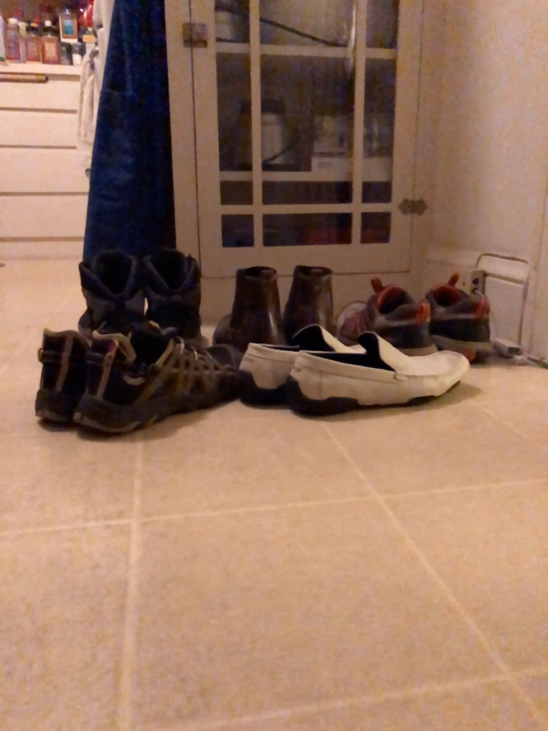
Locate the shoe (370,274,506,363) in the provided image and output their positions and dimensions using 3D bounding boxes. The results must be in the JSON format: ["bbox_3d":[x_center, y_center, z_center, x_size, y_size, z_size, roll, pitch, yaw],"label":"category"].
[{"bbox_3d":[0.302,-0.103,1.171,0.110,0.113,0.314,-4,15,-14],"label":"shoe"}]

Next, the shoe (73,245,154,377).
[{"bbox_3d":[-0.309,-0.118,1.131,0.110,0.192,0.324,-5,16,-18],"label":"shoe"}]

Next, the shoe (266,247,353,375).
[{"bbox_3d":[0.057,-0.121,1.169,0.110,0.192,0.324,-2,15,-7],"label":"shoe"}]

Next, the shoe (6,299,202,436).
[{"bbox_3d":[-0.230,-0.013,0.884,0.110,0.123,0.294,6,16,23],"label":"shoe"}]

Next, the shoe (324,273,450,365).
[{"bbox_3d":[0.198,-0.099,1.138,0.110,0.113,0.314,-4,15,-14],"label":"shoe"}]

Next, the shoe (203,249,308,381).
[{"bbox_3d":[-0.046,-0.112,1.144,0.110,0.192,0.324,-5,16,-17],"label":"shoe"}]

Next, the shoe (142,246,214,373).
[{"bbox_3d":[-0.195,-0.124,1.179,0.110,0.192,0.324,-3,15,-12],"label":"shoe"}]

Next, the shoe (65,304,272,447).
[{"bbox_3d":[-0.132,-0.001,0.852,0.110,0.123,0.294,10,18,34],"label":"shoe"}]

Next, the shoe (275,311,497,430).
[{"bbox_3d":[0.162,-0.003,0.867,0.303,0.113,0.110,-7,16,-26],"label":"shoe"}]

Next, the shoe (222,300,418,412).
[{"bbox_3d":[0.078,-0.025,0.944,0.304,0.113,0.110,-11,18,-35],"label":"shoe"}]
